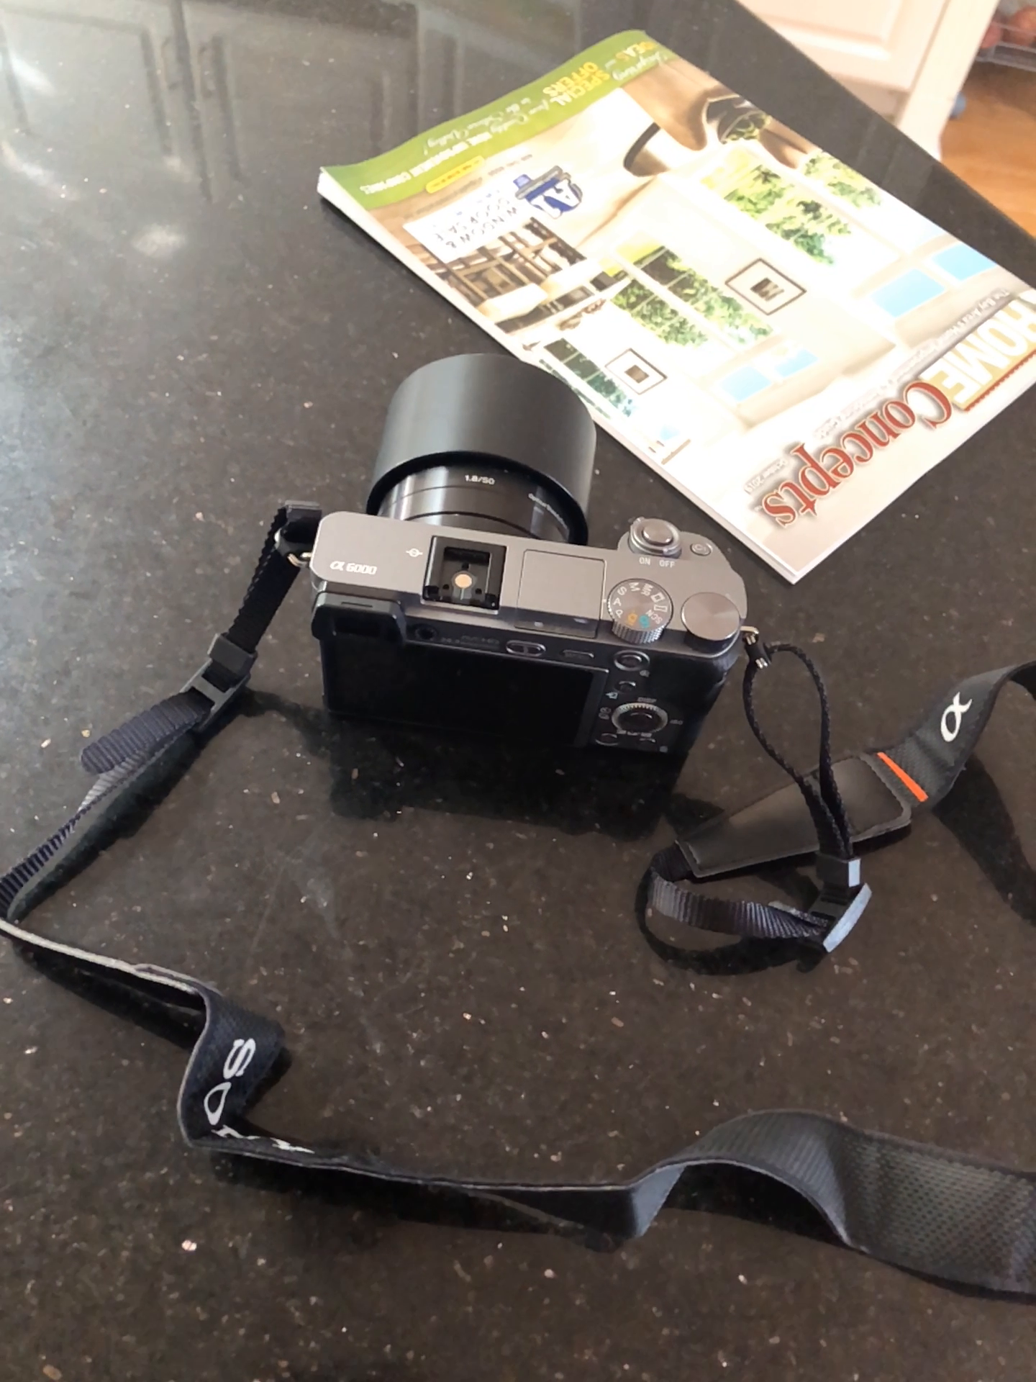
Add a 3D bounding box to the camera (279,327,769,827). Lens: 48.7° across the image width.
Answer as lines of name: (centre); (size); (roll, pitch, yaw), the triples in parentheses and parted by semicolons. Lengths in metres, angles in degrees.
camera: (0.002, -0.032, 0.361); (0.127, 0.100, 0.100); (9, 58, -2)
